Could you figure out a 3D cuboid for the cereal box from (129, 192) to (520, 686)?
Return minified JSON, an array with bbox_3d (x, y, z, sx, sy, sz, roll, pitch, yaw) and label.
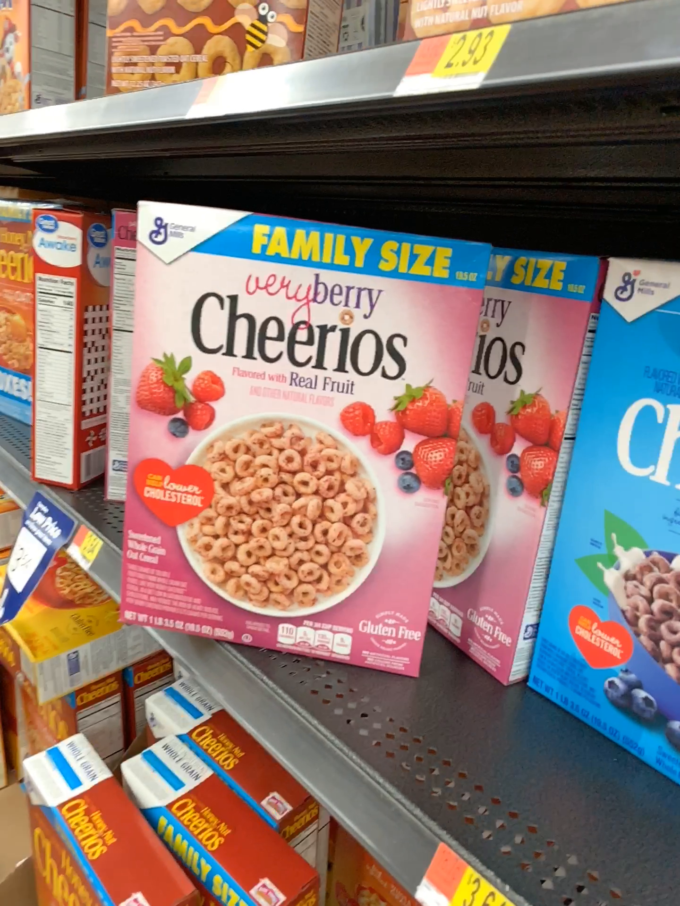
[{"bbox_3d":[-0.021,-0.008,0.513,0.240,0.319,0.060,9,14,6],"label":"cereal box"}]
